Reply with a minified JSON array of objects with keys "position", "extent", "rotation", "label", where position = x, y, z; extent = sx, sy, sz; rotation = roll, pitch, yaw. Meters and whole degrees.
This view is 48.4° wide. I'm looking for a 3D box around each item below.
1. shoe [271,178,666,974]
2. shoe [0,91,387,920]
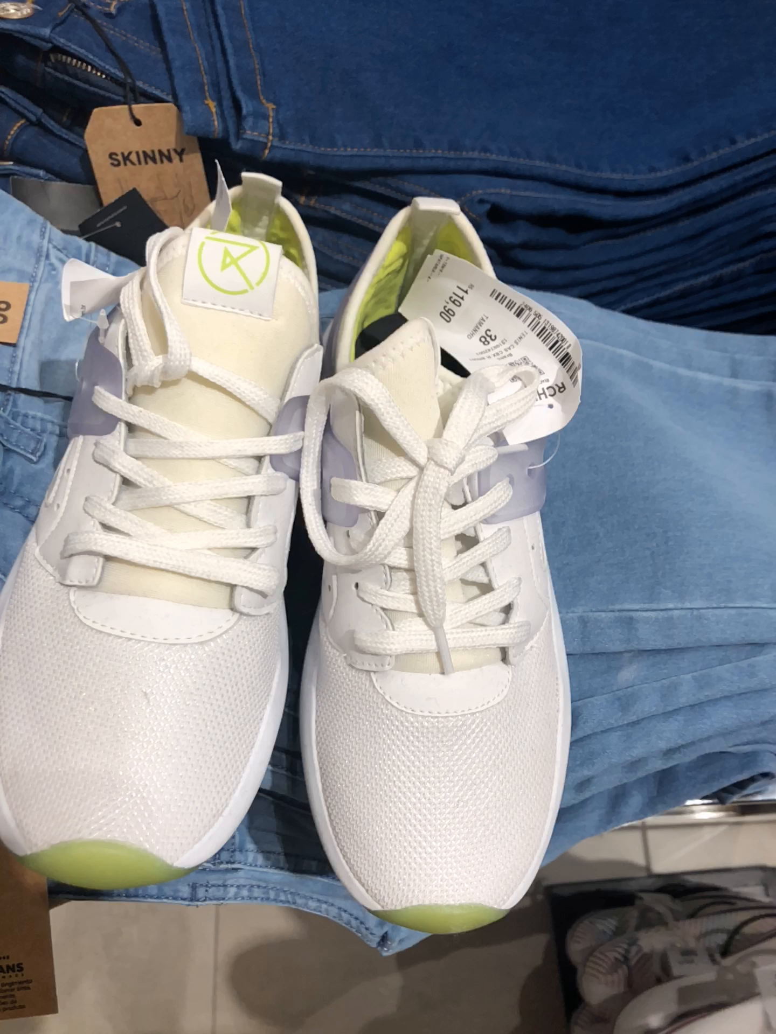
[{"position":[0.017,0.013,0.305],"extent":[0.100,0.090,0.251],"rotation":[-1,69,-1],"label":"shoe"},{"position":[-0.072,-0.021,0.301],"extent":[0.110,0.120,0.261],"rotation":[11,47,-9],"label":"shoe"}]
